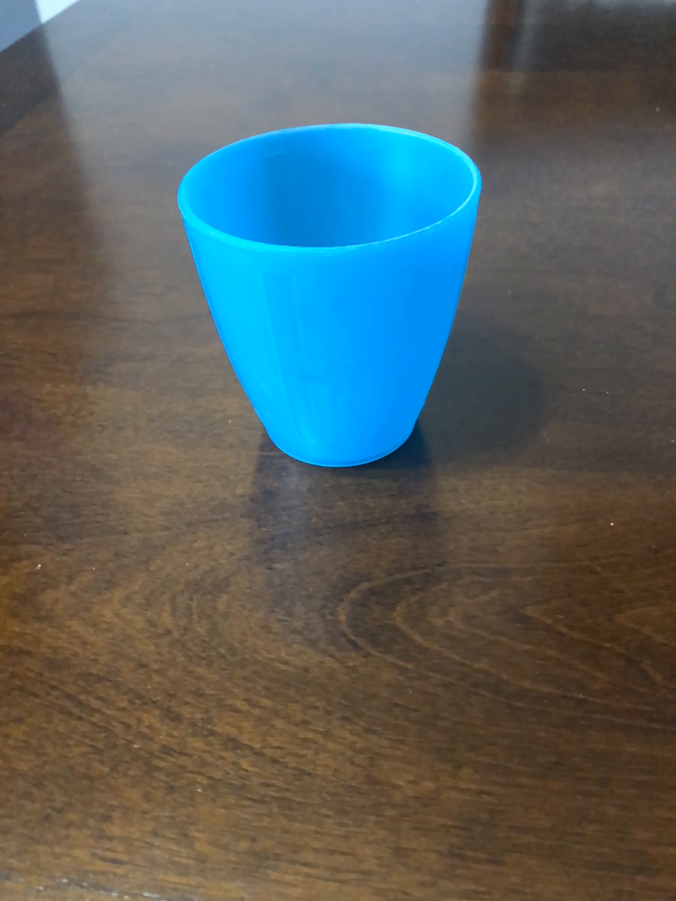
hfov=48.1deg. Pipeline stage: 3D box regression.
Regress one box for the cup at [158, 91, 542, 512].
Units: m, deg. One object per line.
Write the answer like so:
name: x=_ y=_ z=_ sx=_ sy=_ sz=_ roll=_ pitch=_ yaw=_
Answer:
cup: x=-0.001 y=-0.042 z=0.209 sx=0.080 sy=0.080 sz=0.070 roll=-9 pitch=43 yaw=-6
